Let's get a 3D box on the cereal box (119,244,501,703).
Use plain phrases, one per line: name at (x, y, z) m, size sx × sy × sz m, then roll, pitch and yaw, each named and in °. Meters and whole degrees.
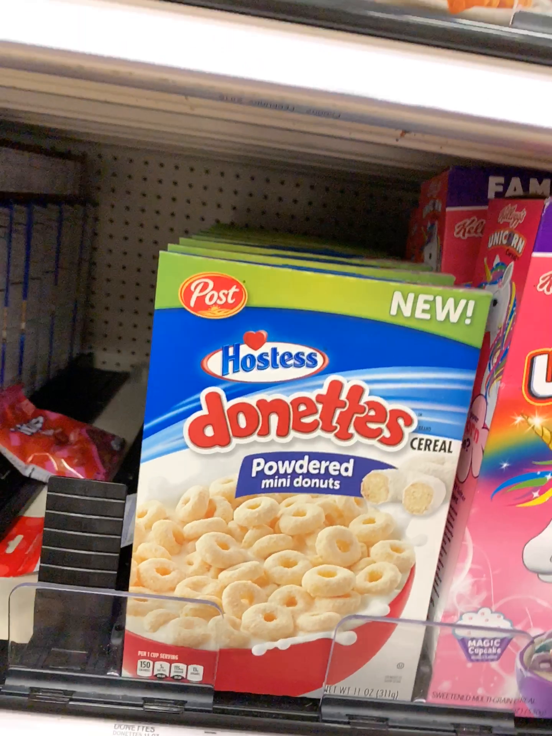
cereal box at (0.012, 0.070, 0.370) m, size 0.190 × 0.269 × 0.060 m, roll 7°, pitch 11°, yaw -4°
